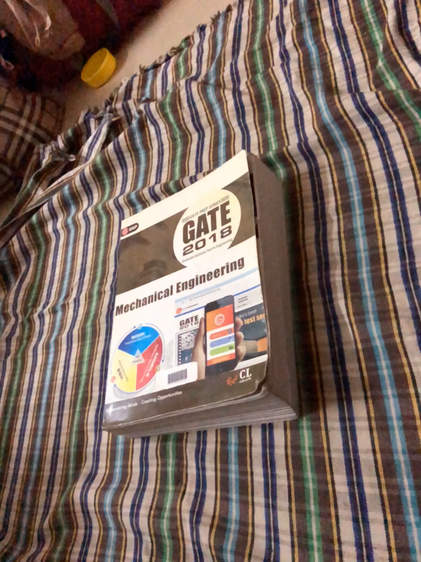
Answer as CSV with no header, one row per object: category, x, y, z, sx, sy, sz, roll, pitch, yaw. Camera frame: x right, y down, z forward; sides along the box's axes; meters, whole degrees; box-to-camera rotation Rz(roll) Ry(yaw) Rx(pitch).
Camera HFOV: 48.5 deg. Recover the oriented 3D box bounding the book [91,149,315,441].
book,-0.014,0.020,0.514,0.211,0.075,0.264,-20,55,30
